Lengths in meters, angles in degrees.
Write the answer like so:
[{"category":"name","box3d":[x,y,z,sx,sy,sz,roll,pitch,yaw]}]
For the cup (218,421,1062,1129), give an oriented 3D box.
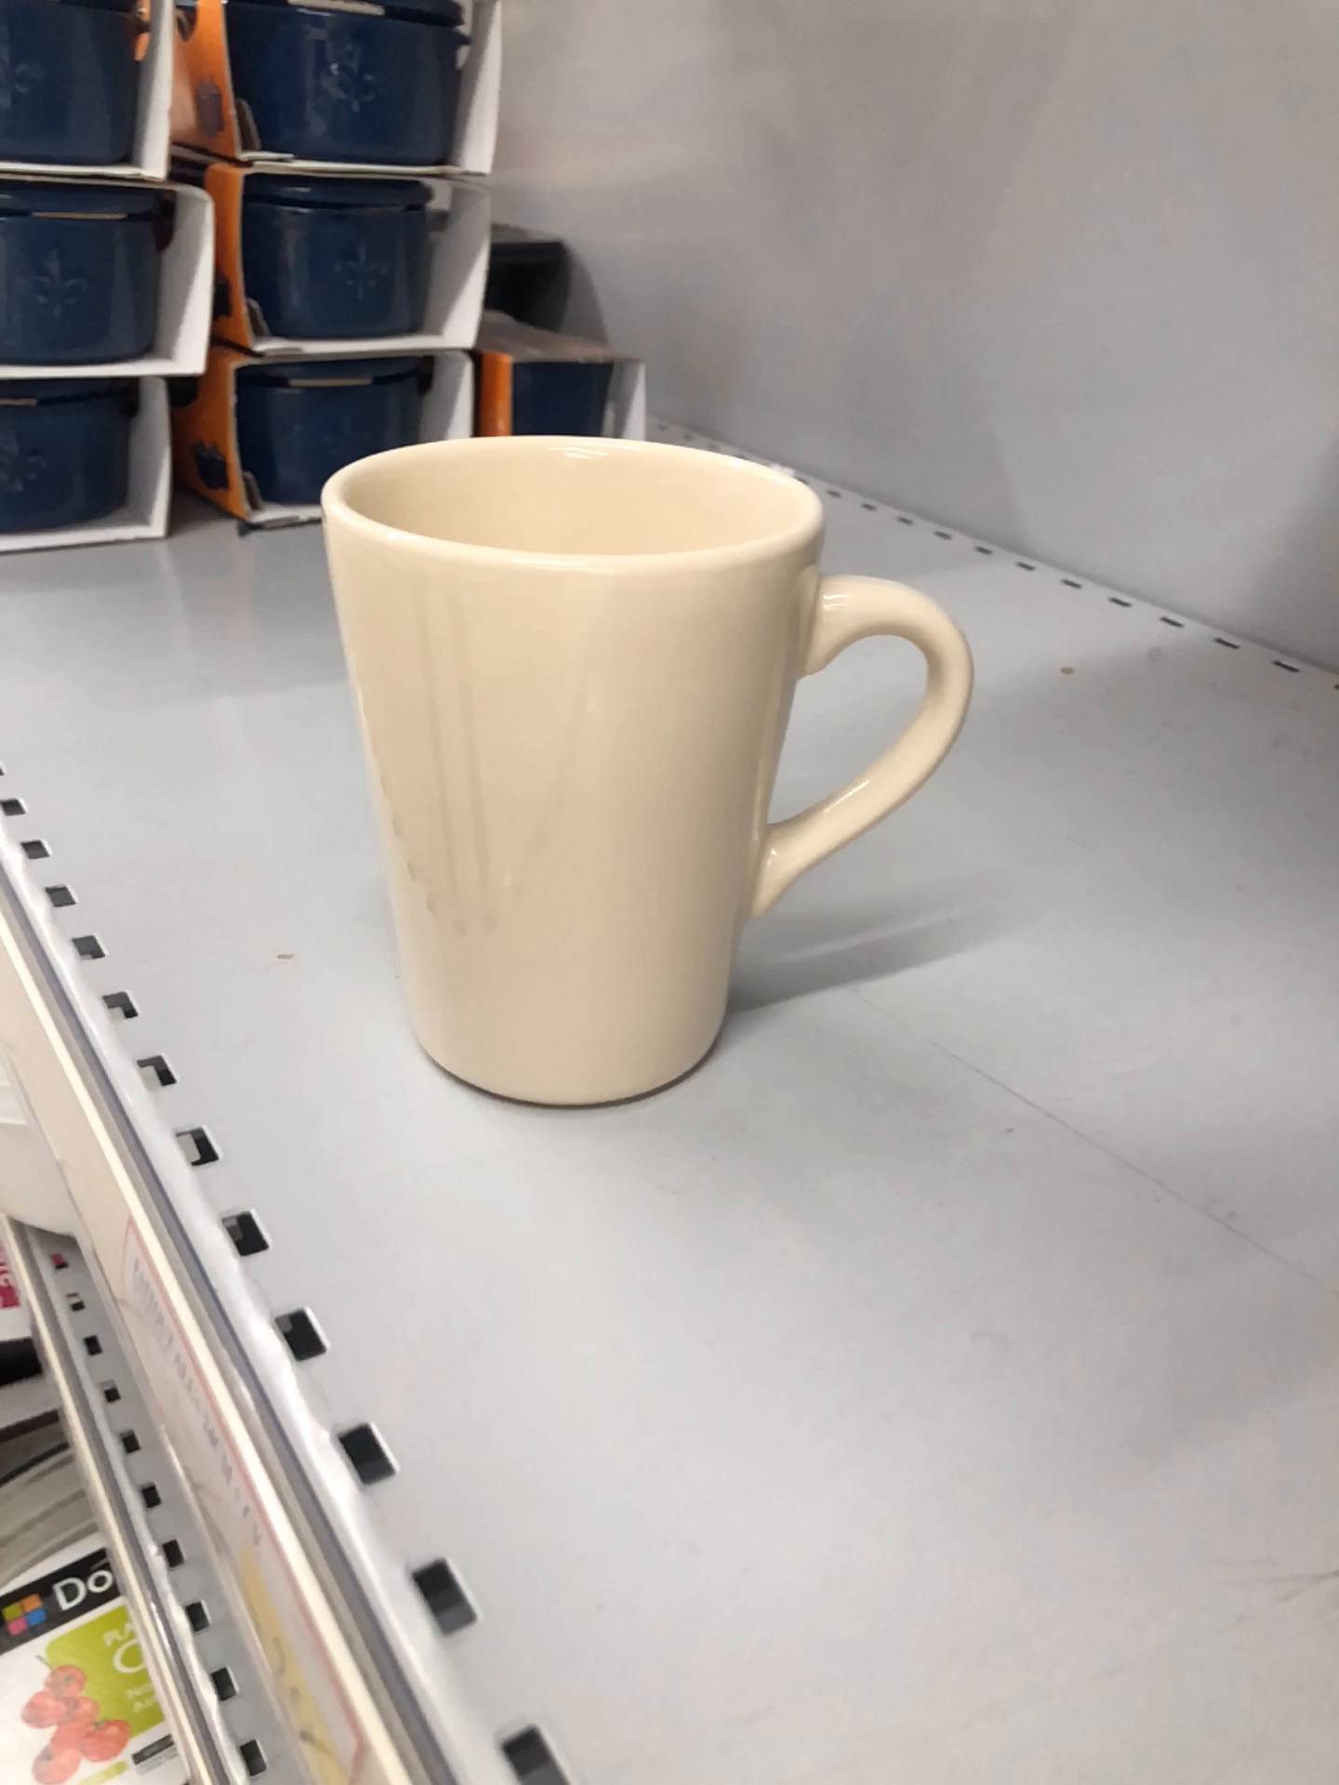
[{"category":"cup","box3d":[-0.006,-0.024,0.268,0.119,0.099,0.082,1,29,-2]}]
